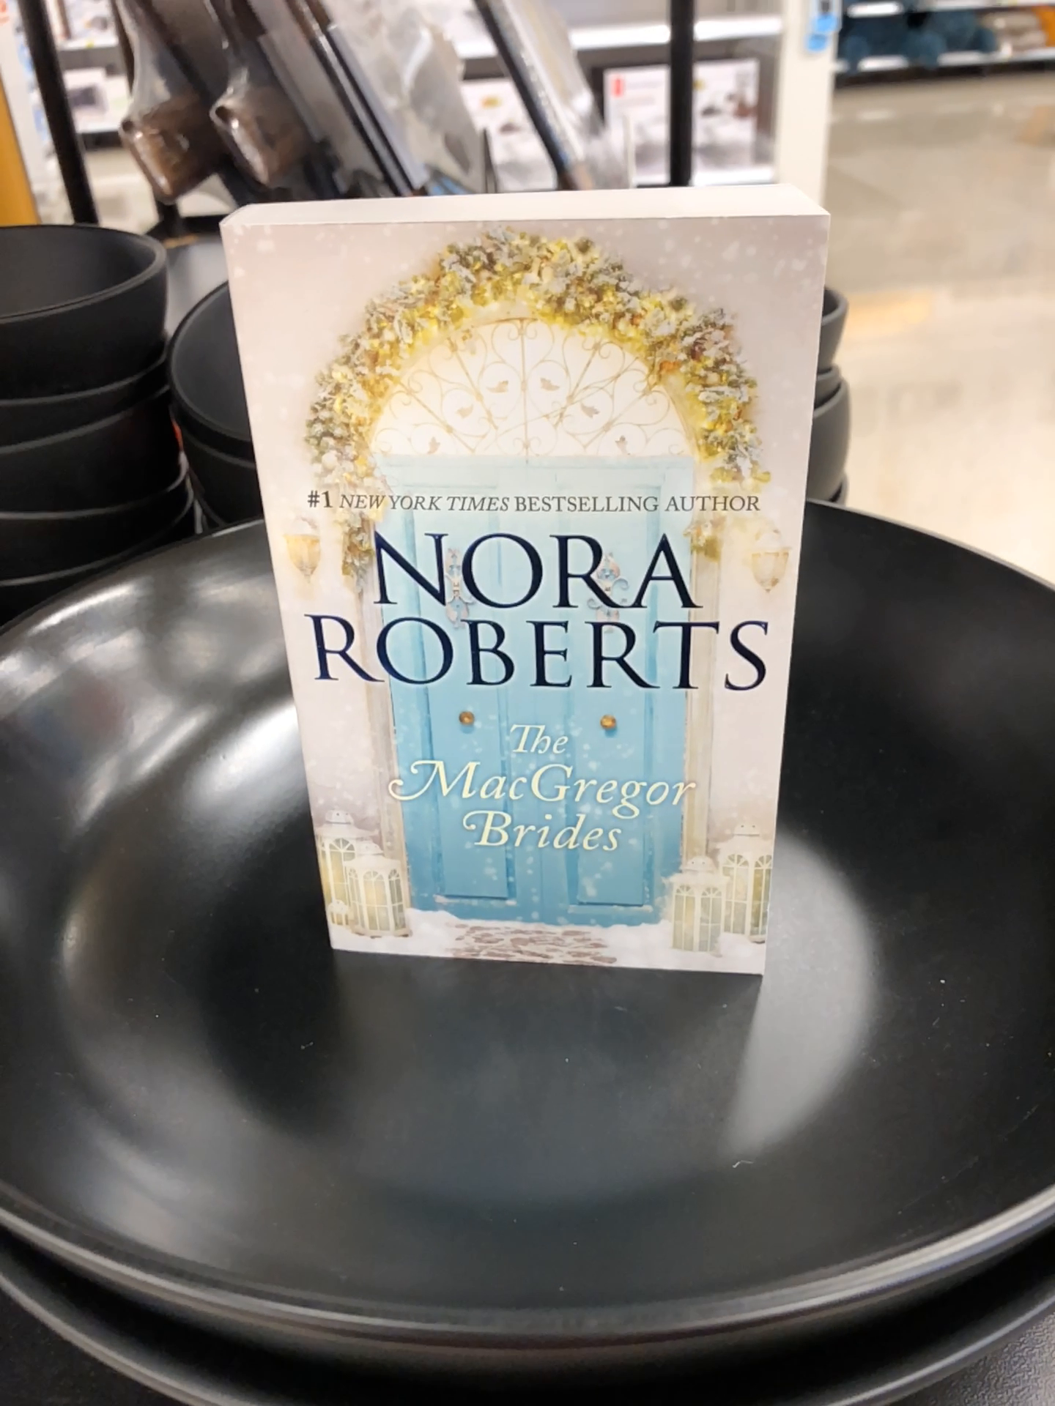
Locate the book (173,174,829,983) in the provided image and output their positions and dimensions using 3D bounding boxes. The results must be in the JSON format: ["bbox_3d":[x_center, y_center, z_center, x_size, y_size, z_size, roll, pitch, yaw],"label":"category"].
[{"bbox_3d":[0.001,-0.018,0.256,0.111,0.168,0.040,1,31,8],"label":"book"}]
